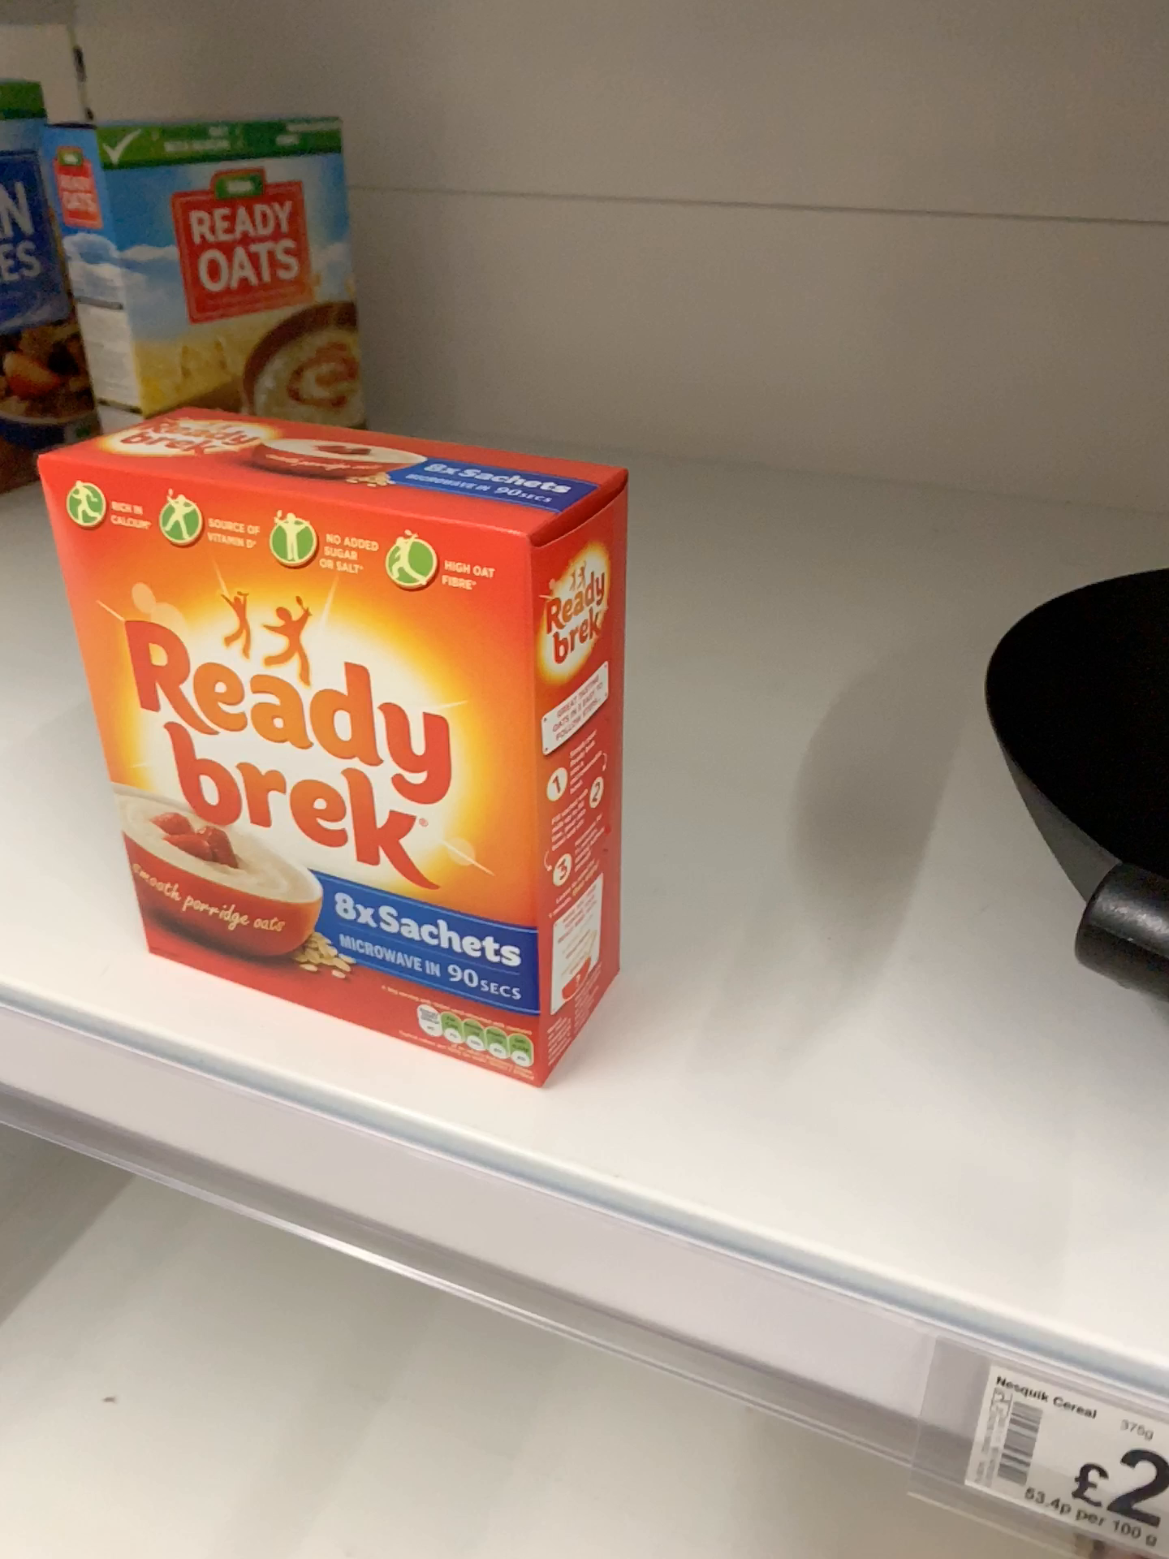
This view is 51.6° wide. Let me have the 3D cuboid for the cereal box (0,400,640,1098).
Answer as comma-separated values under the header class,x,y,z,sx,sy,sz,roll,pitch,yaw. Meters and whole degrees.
class,x,y,z,sx,sy,sz,roll,pitch,yaw
cereal box,-0.080,-0.014,0.405,0.180,0.188,0.071,13,33,22
